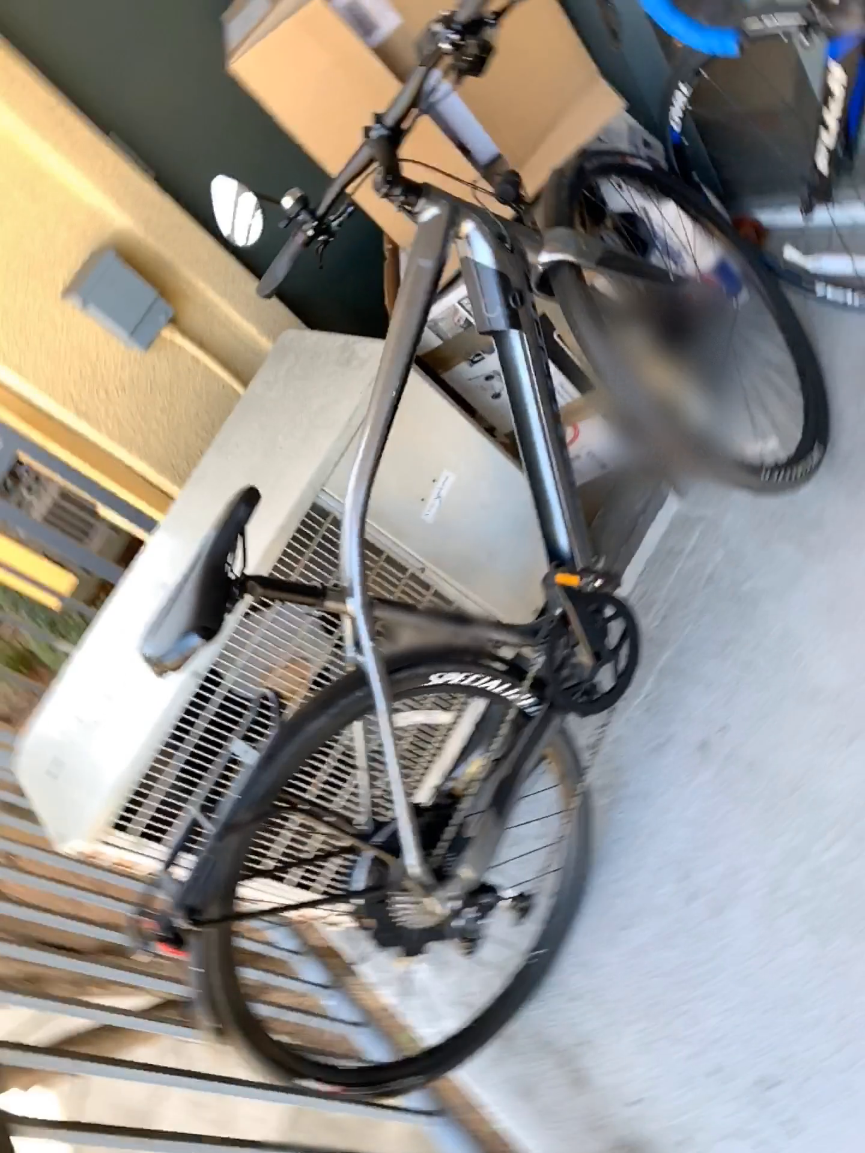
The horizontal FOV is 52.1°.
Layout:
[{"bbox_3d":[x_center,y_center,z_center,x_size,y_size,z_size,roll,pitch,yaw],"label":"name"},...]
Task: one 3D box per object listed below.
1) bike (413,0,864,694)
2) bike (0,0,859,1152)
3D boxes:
[{"bbox_3d":[0.815,-0.558,0.967,1.509,0.932,0.362,32,85,46],"label":"bike"},{"bbox_3d":[-0.022,-0.096,1.413,0.624,0.971,1.583,10,68,47],"label":"bike"}]
